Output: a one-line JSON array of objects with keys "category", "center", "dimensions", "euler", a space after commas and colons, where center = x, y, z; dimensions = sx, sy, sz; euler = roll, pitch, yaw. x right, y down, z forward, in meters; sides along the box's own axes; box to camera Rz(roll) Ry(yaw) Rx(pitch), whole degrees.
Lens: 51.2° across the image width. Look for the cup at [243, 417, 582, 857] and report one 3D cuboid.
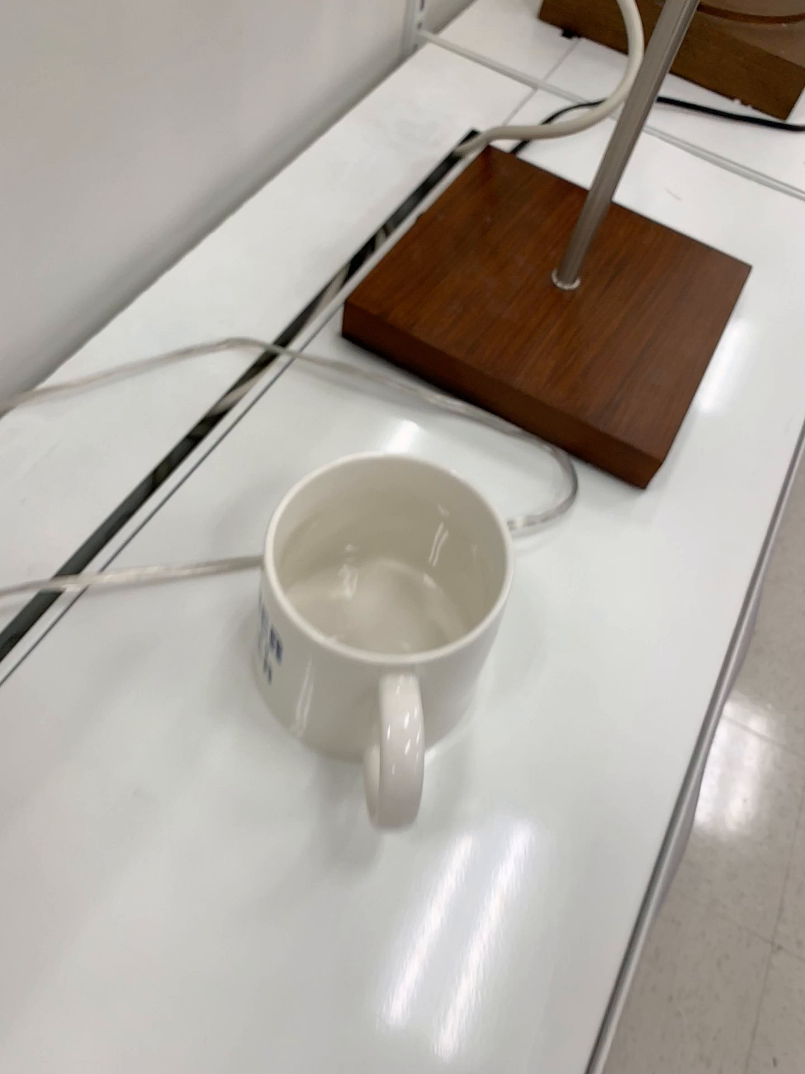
[{"category": "cup", "center": [-0.008, 0.048, 0.386], "dimensions": [0.120, 0.120, 0.161], "euler": [1, 58, -9]}]
